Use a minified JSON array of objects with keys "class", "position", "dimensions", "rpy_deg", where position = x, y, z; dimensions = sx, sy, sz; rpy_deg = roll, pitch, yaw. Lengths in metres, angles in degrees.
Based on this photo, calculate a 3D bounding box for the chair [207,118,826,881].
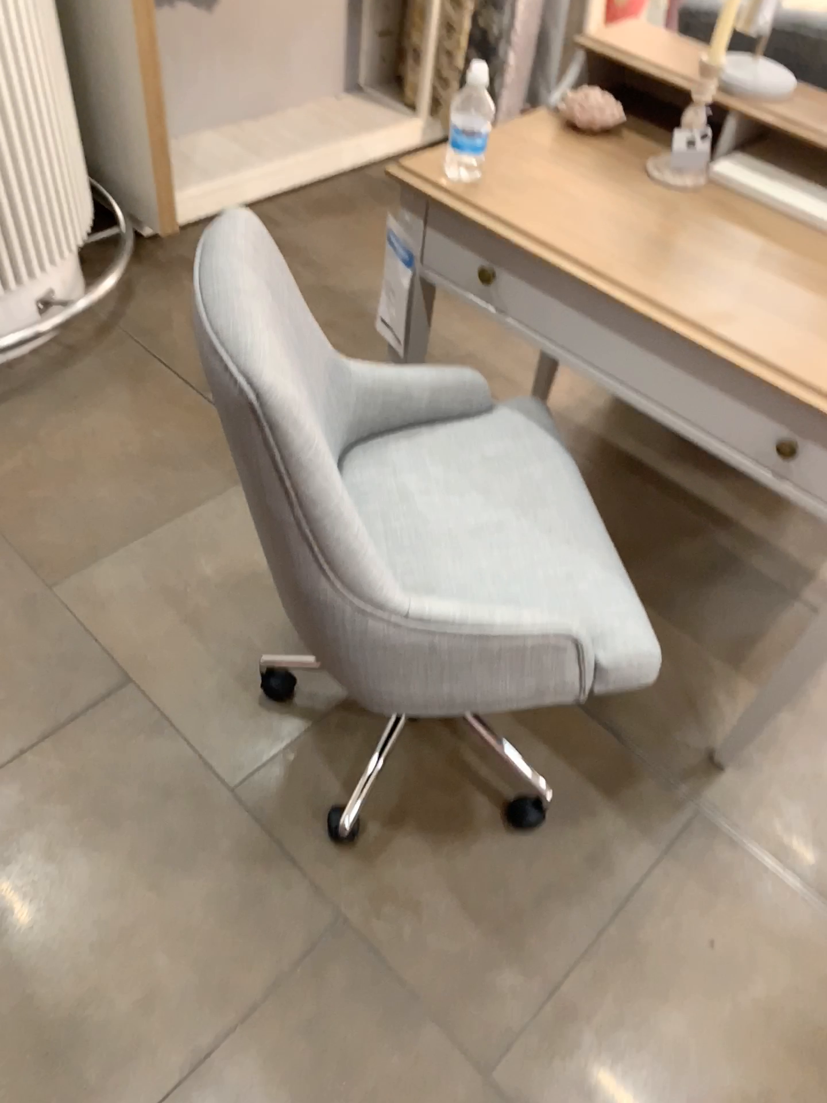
[{"class":"chair","position":[0.061,-0.038,1.255],"dimensions":[0.636,0.891,0.629],"rpy_deg":[-4,49,-11]}]
